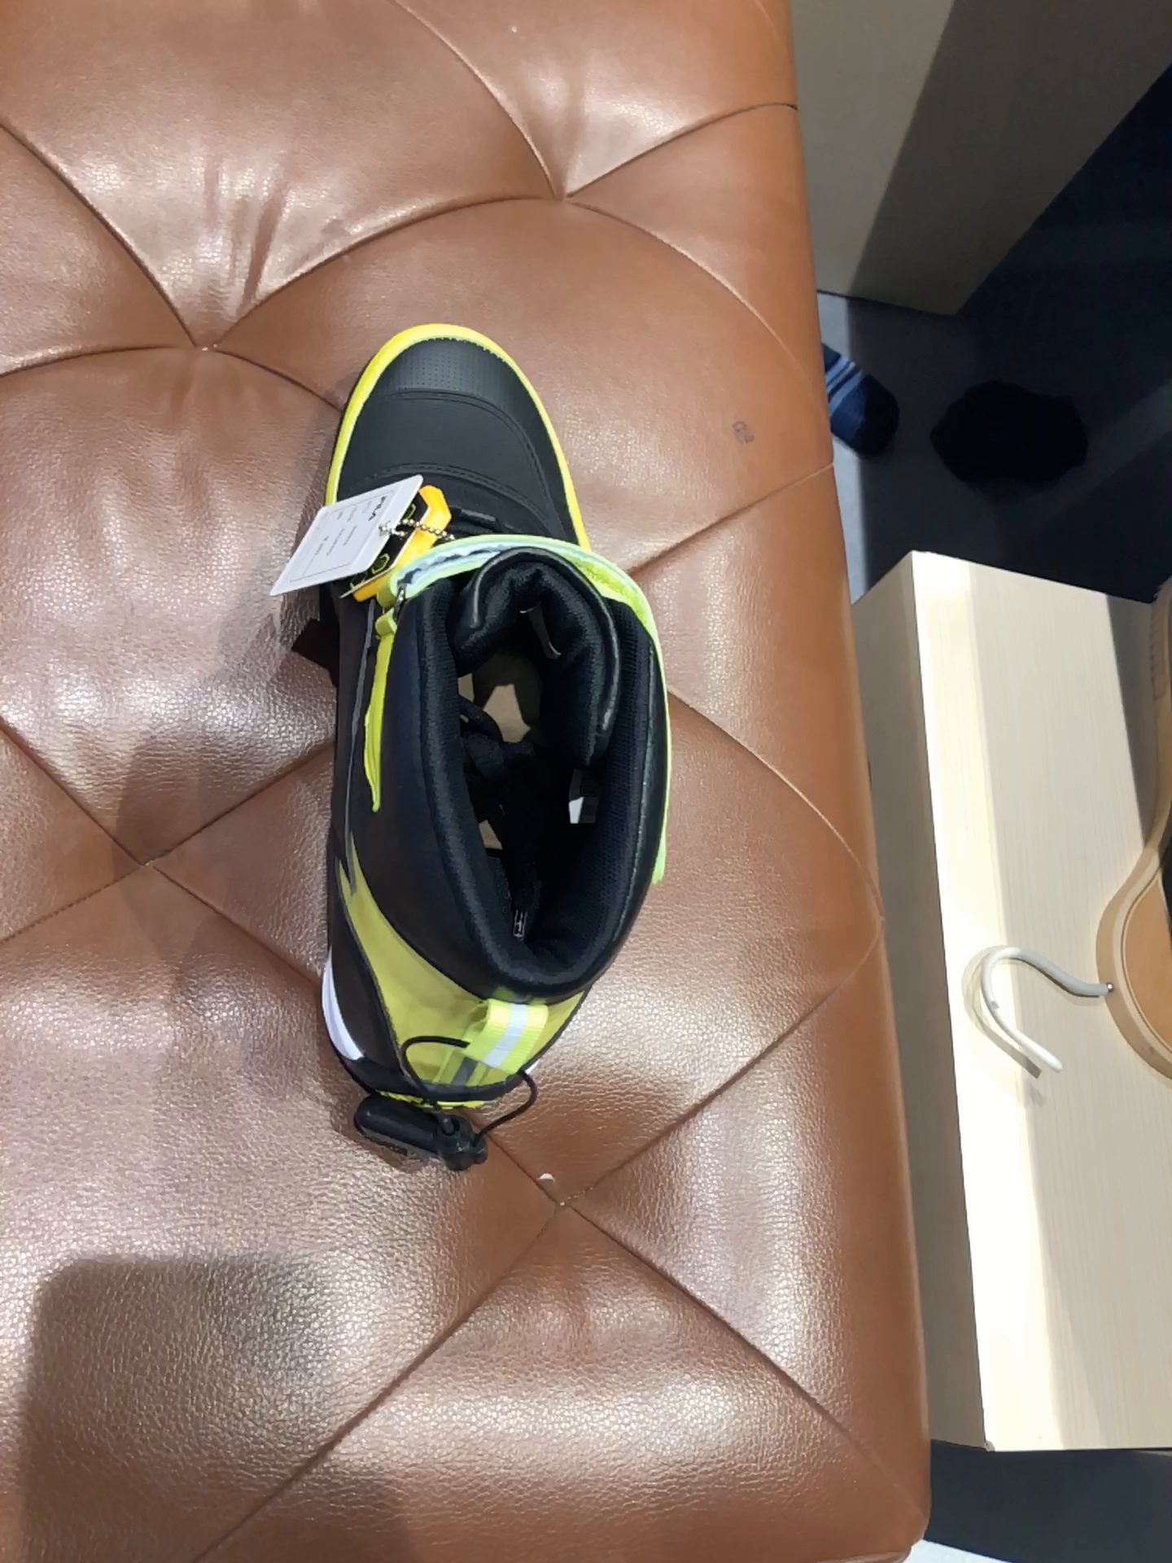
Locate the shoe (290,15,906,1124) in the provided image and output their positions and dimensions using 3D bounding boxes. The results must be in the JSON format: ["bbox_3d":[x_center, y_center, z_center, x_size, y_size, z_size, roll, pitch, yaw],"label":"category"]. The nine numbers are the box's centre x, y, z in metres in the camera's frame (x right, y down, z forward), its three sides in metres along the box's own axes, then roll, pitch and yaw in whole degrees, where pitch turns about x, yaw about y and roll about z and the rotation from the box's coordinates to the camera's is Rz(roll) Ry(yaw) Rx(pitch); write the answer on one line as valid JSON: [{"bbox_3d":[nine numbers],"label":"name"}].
[{"bbox_3d":[-0.018,-0.047,0.399,0.116,0.172,0.274,4,68,-19],"label":"shoe"}]
